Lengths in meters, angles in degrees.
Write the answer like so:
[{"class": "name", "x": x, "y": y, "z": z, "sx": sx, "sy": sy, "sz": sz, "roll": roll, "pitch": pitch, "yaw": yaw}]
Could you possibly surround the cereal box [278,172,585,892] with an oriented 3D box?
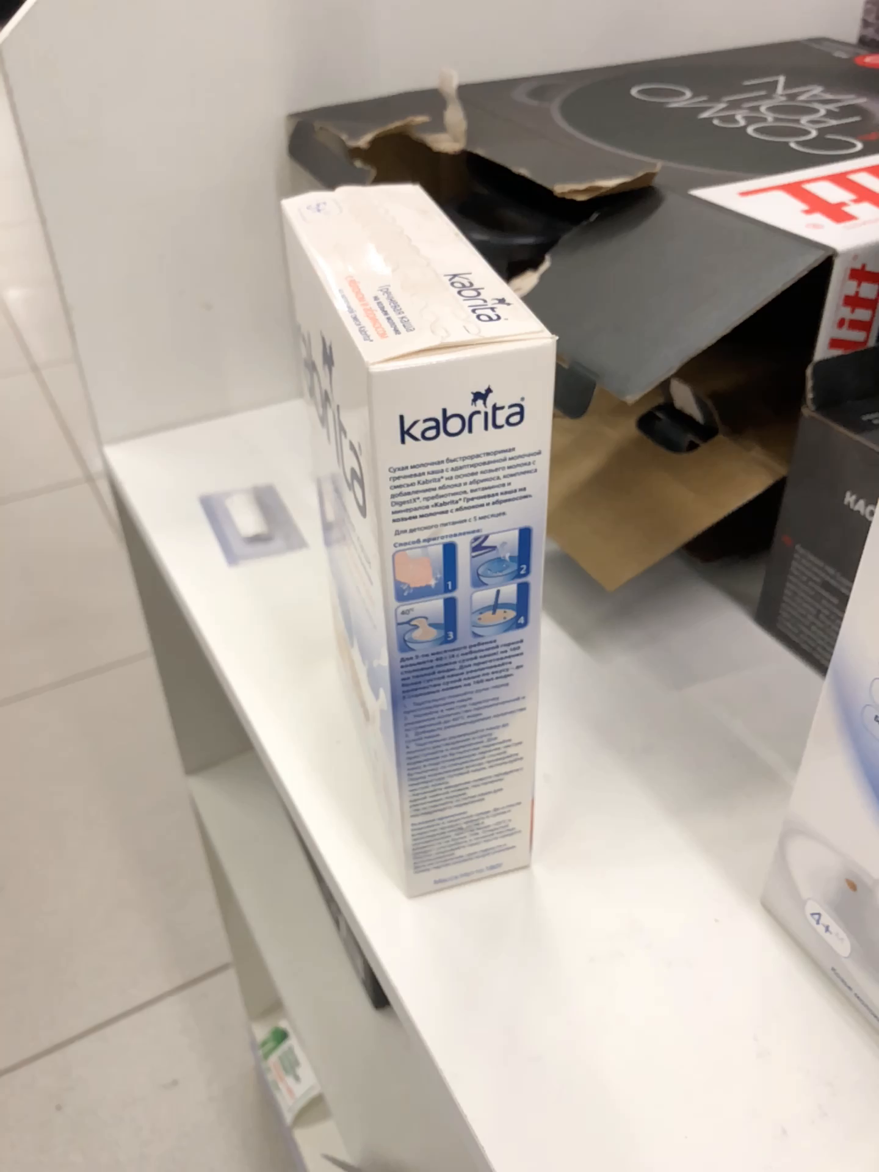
[{"class": "cereal box", "x": -0.009, "y": -0.018, "z": 0.339, "sx": 0.050, "sy": 0.199, "sz": 0.141, "roll": -11, "pitch": 39, "yaw": -13}]
